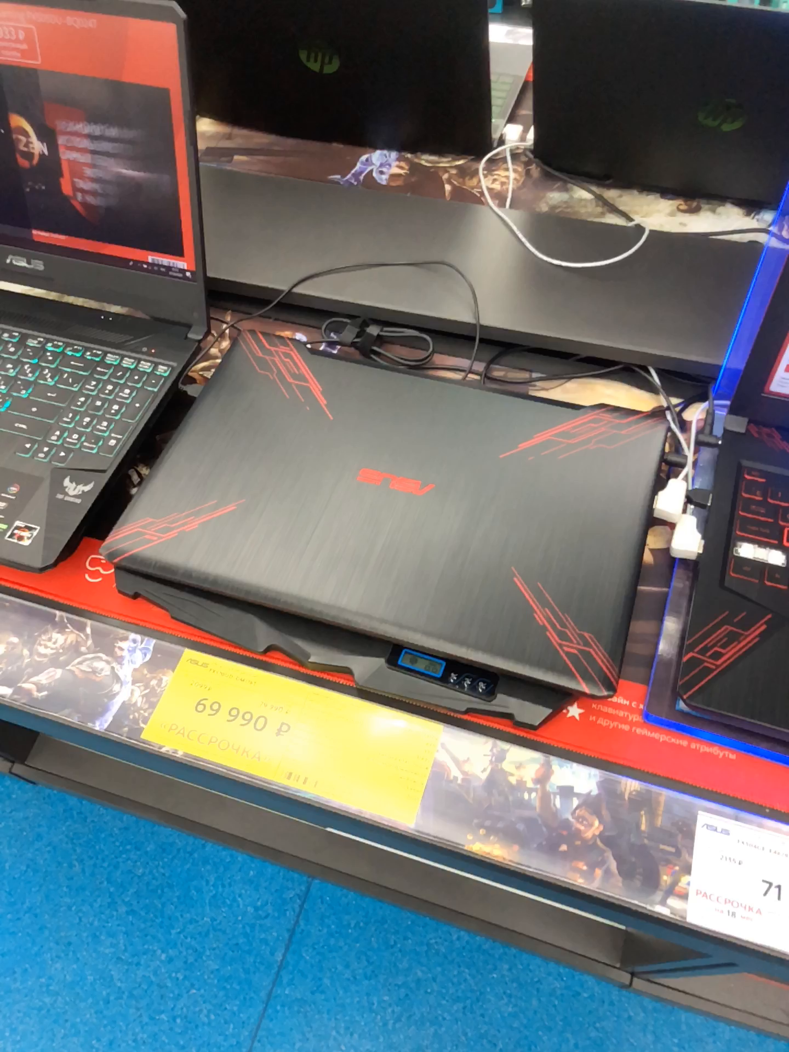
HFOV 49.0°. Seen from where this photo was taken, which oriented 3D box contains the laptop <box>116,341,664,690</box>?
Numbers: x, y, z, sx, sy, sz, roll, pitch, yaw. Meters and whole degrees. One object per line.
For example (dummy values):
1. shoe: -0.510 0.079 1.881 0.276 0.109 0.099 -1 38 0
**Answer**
1. laptop: 0.006 -0.030 0.658 0.358 0.003 0.240 14 54 13
